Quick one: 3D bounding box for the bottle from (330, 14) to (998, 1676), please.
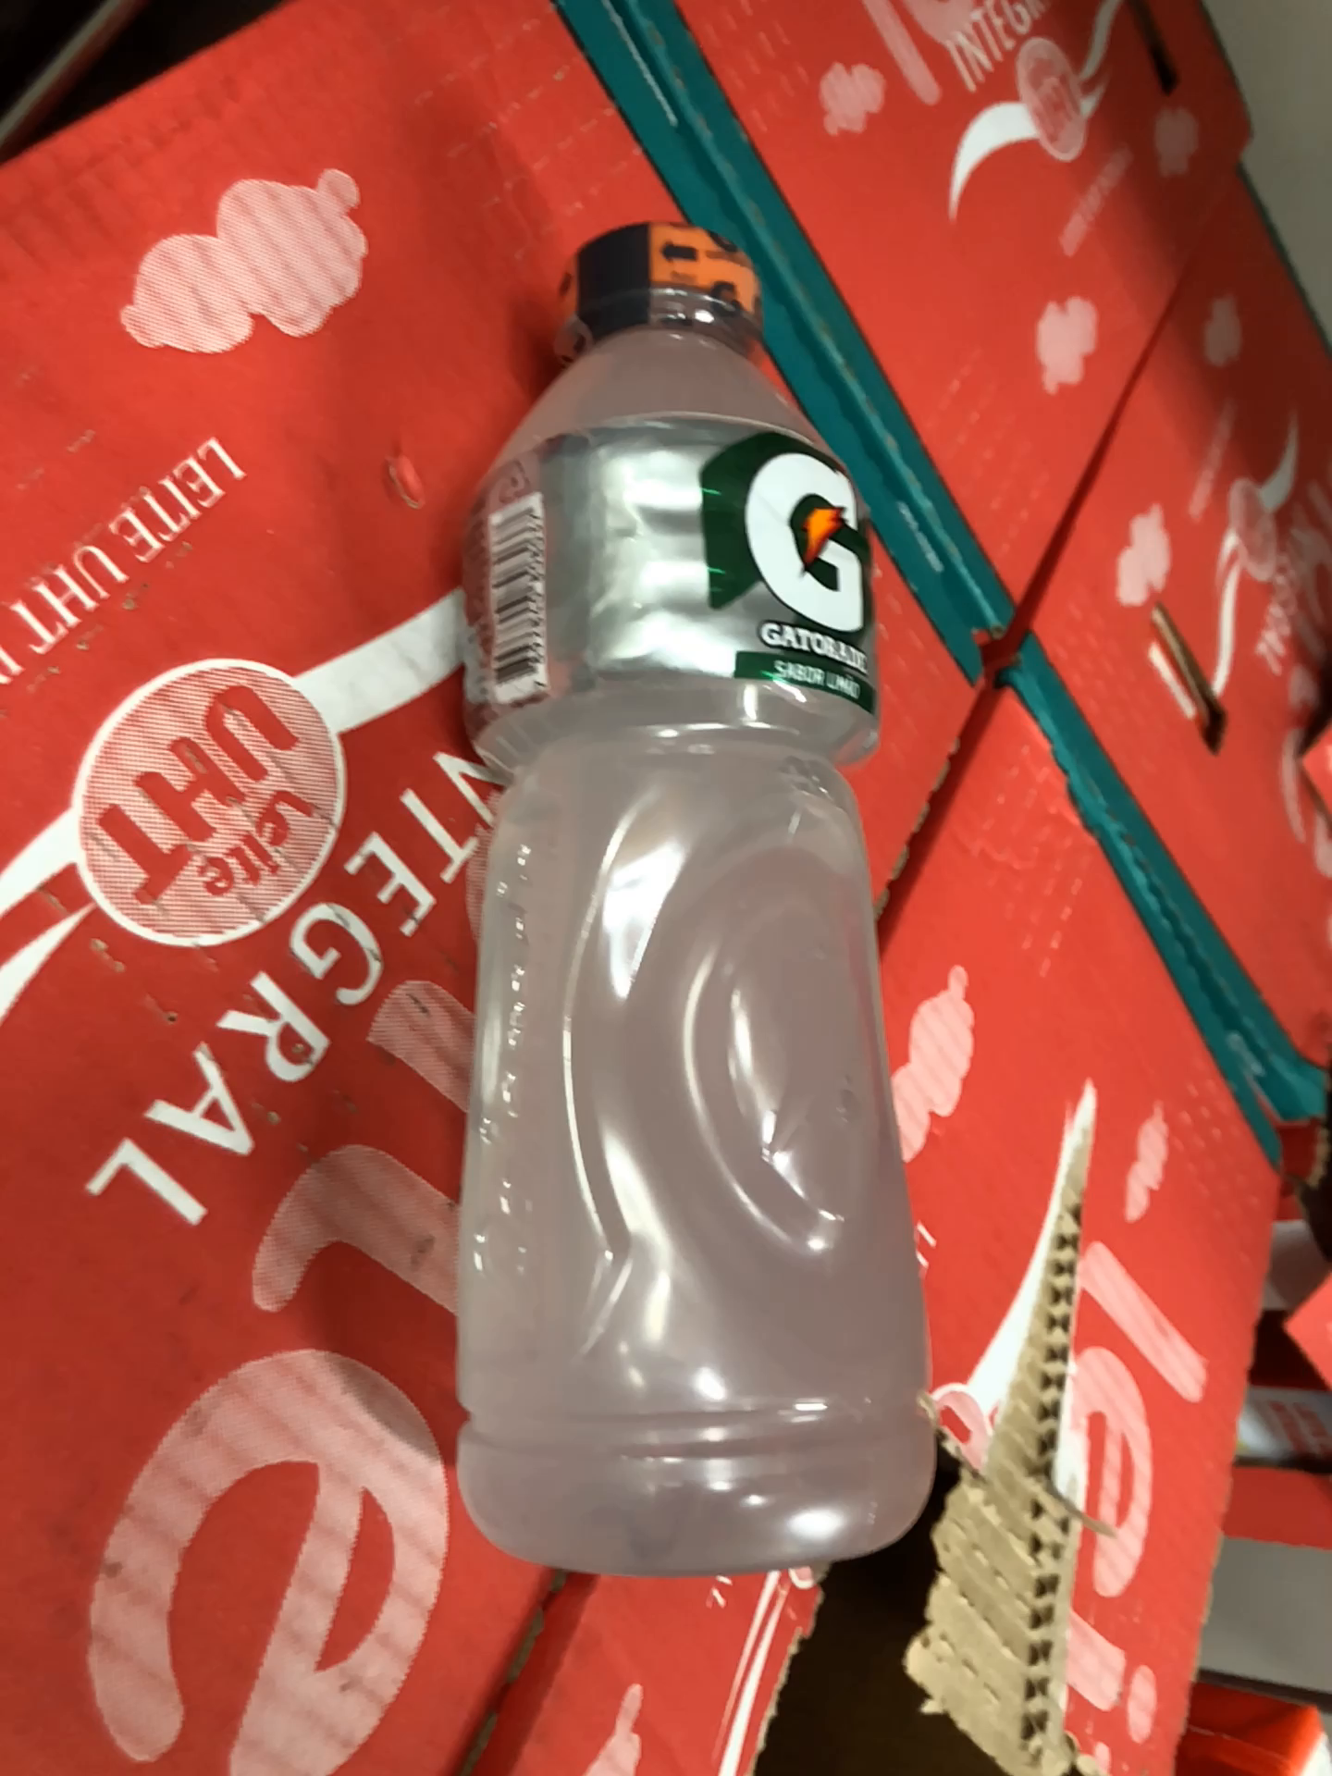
[{"bbox_3d":[-0.004,-0.008,0.227,0.070,0.060,0.210,10,72,-46],"label":"bottle"}]

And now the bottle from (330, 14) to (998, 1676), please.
[{"bbox_3d":[-0.004,-0.008,0.227,0.070,0.060,0.210,10,72,-46],"label":"bottle"}]
